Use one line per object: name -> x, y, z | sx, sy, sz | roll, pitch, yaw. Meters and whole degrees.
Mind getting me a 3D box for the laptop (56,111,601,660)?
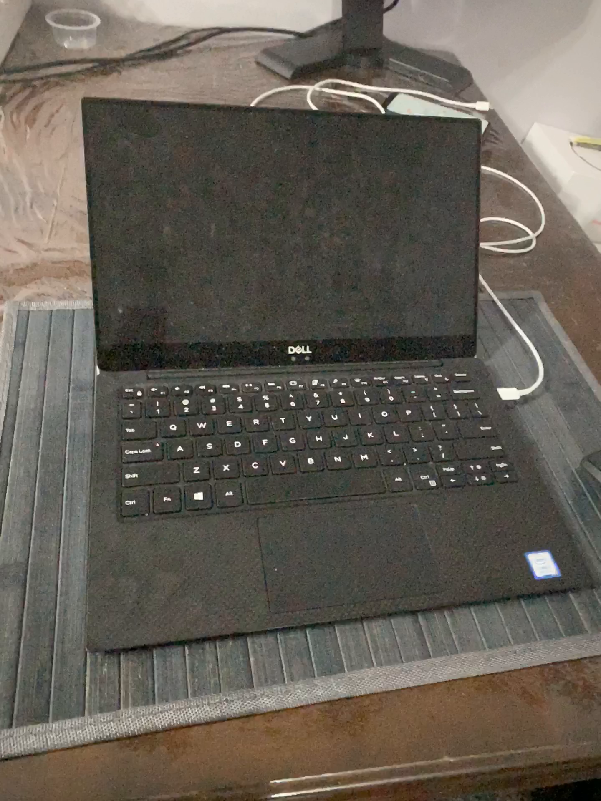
laptop -> 0.023, -0.037, 0.374 | 0.282, 0.129, 0.299 | -3, 49, -13
